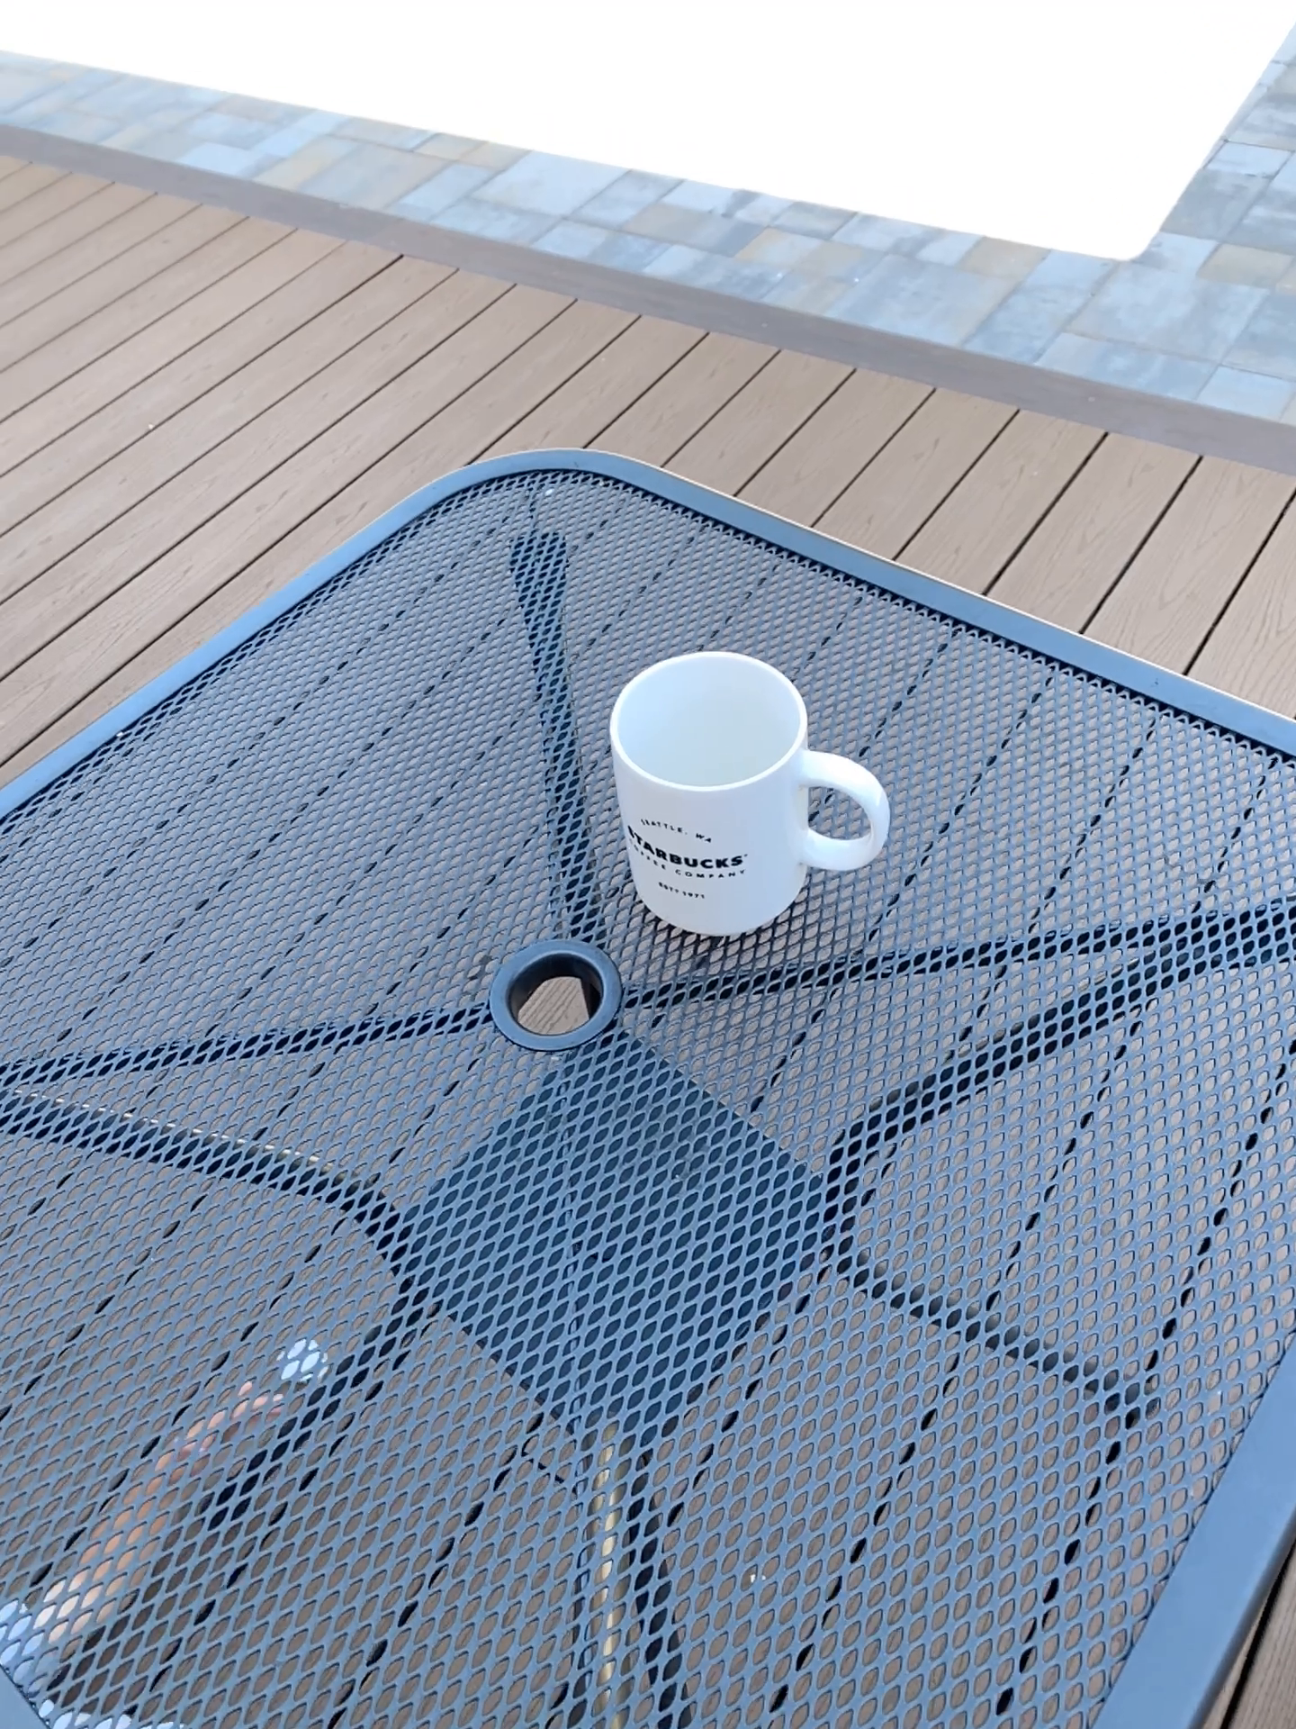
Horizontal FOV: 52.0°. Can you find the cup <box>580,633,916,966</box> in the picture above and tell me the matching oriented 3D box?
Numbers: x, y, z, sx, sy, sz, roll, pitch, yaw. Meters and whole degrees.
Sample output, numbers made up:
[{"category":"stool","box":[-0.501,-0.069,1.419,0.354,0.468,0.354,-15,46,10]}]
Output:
[{"category":"cup","box":[0.047,-0.029,0.584,0.120,0.100,0.080,12,54,16]}]
